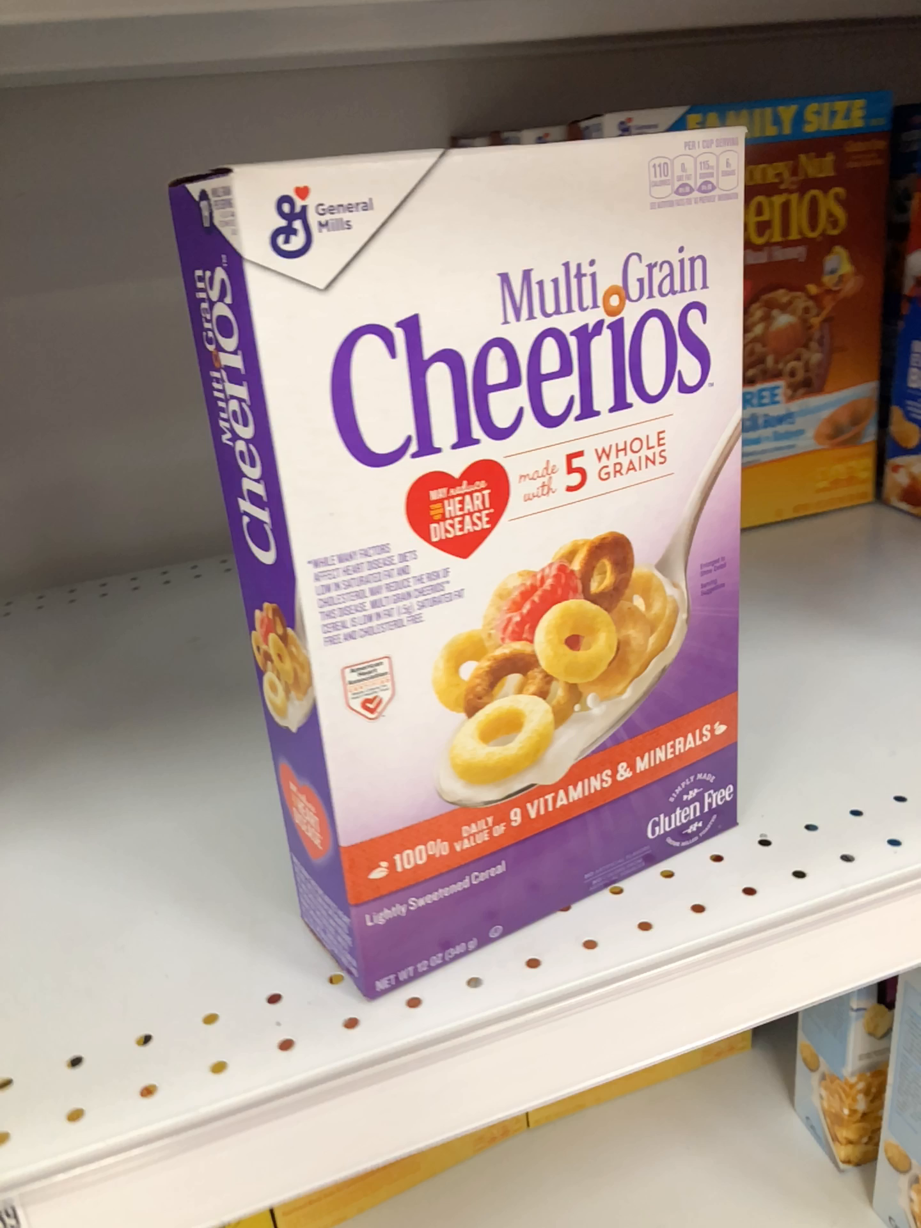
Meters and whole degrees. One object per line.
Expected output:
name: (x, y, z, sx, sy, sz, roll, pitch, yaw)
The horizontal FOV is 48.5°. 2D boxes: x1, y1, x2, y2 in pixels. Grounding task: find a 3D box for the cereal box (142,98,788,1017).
cereal box: (0.021, -0.025, 0.399, 0.210, 0.299, 0.070, -17, 25, -25)
